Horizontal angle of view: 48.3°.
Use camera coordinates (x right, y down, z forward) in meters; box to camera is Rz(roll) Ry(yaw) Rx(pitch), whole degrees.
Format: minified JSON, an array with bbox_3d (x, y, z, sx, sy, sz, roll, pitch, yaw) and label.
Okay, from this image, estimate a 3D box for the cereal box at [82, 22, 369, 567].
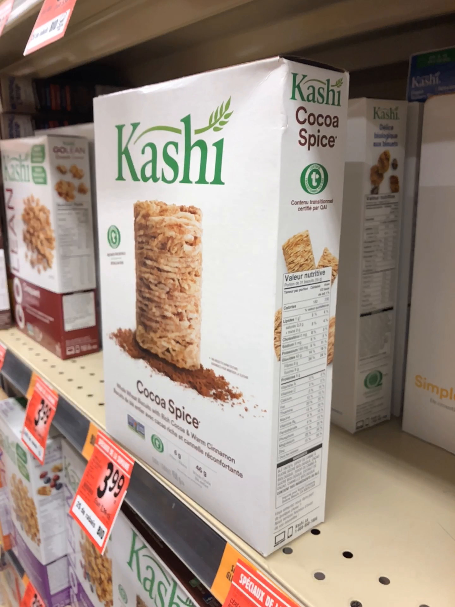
[{"bbox_3d":[-0.019,-0.012,0.351,0.060,0.279,0.211,-10,17,-39],"label":"cereal box"}]
